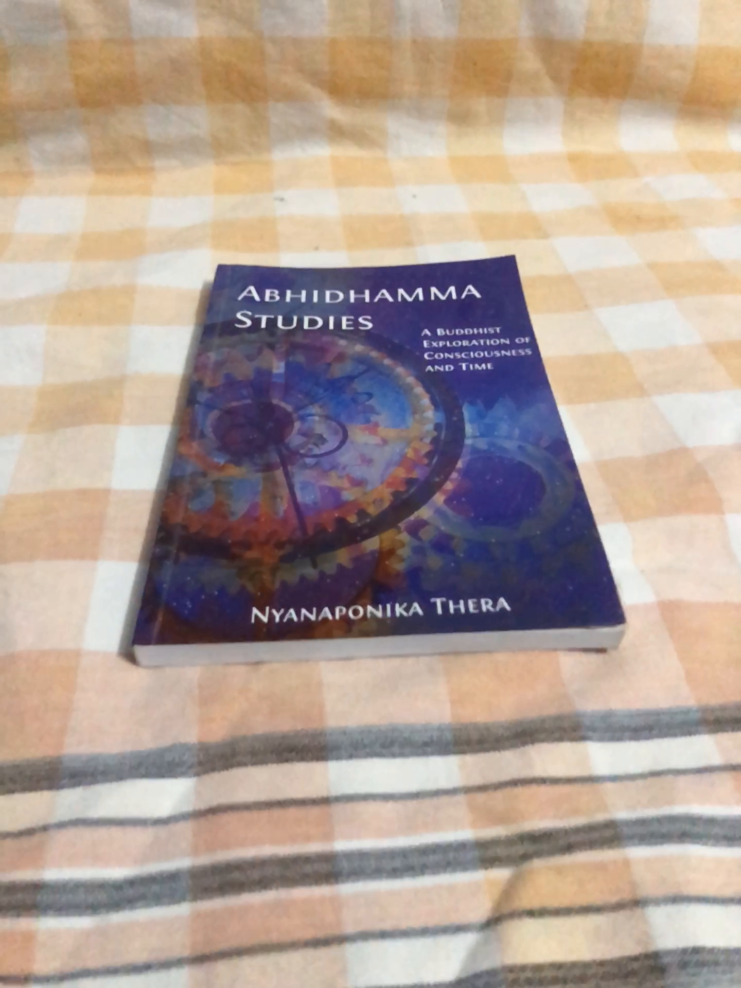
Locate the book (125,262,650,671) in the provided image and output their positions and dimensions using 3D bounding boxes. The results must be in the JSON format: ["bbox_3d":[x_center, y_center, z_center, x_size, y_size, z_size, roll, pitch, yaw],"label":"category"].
[{"bbox_3d":[0.003,-0.028,0.315,0.150,0.020,0.211,0,44,-2],"label":"book"}]
